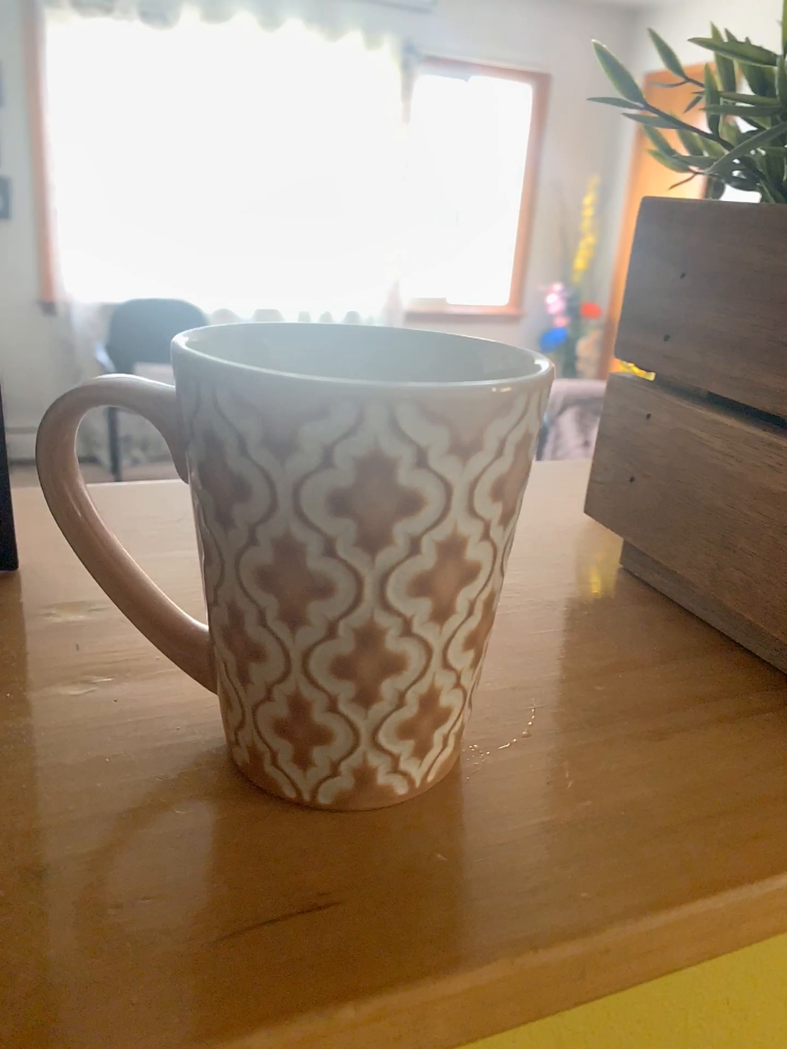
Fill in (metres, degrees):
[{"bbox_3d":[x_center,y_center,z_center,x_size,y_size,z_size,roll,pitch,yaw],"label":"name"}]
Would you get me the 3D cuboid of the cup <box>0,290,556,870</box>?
[{"bbox_3d":[-0.029,0.004,0.214,0.120,0.109,0.091,6,21,5],"label":"cup"}]
